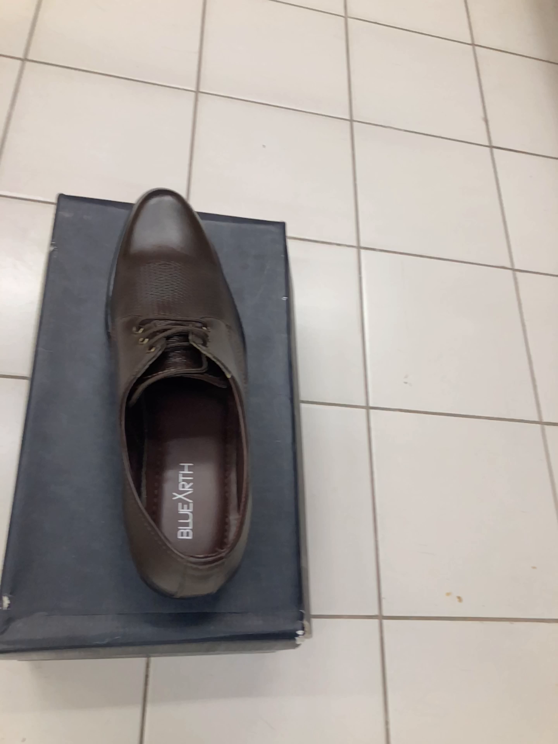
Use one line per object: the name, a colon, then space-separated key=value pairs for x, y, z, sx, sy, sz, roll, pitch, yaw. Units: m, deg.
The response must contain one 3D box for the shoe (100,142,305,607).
shoe: x=-0.066 y=-0.002 z=0.425 sx=0.104 sy=0.109 sz=0.291 roll=-1 pitch=67 yaw=-15
